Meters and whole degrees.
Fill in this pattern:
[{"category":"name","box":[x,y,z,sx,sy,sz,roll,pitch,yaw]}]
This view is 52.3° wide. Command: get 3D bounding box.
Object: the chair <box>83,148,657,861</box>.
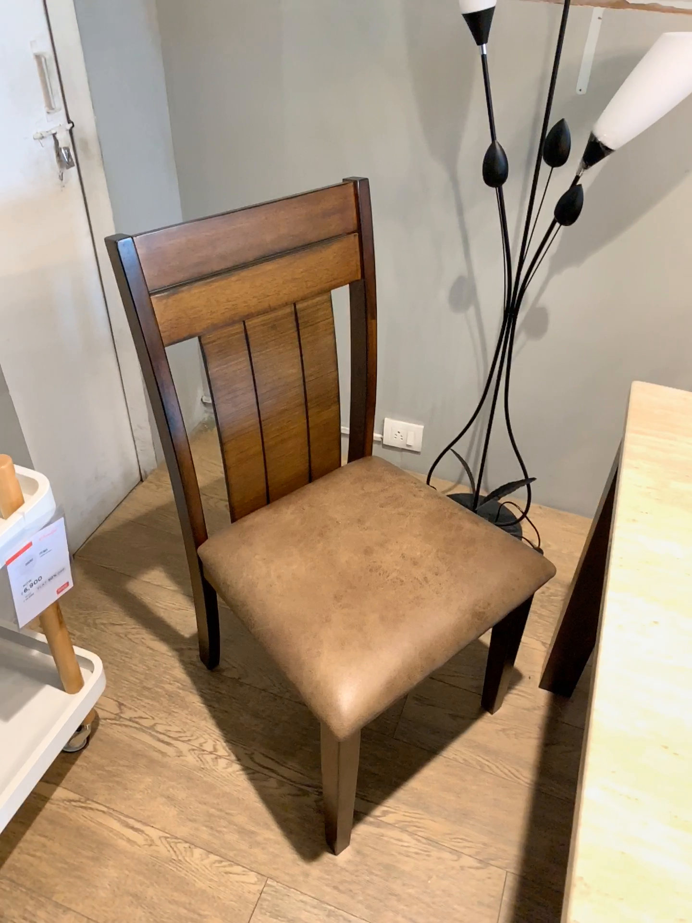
[{"category":"chair","box":[0.007,0.087,1.231,0.511,0.996,0.551,-28,48,-31]}]
